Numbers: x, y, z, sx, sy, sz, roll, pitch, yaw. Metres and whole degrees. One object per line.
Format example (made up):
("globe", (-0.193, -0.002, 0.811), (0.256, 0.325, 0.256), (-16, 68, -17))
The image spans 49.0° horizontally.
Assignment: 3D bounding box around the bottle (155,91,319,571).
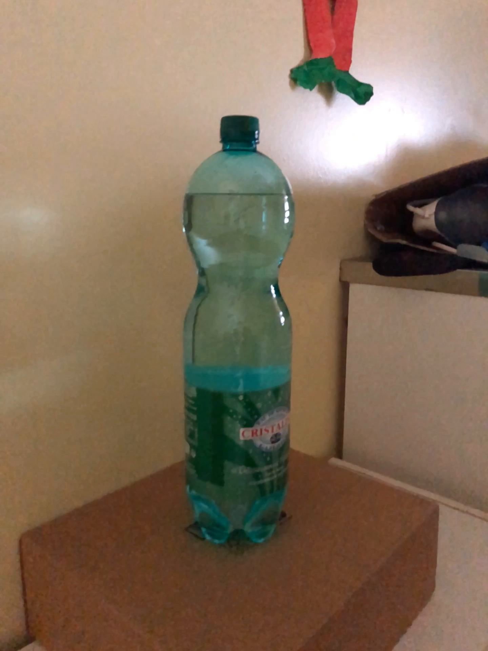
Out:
("bottle", (-0.006, 0.006, 0.428), (0.090, 0.339, 0.080), (-10, 16, -41))
